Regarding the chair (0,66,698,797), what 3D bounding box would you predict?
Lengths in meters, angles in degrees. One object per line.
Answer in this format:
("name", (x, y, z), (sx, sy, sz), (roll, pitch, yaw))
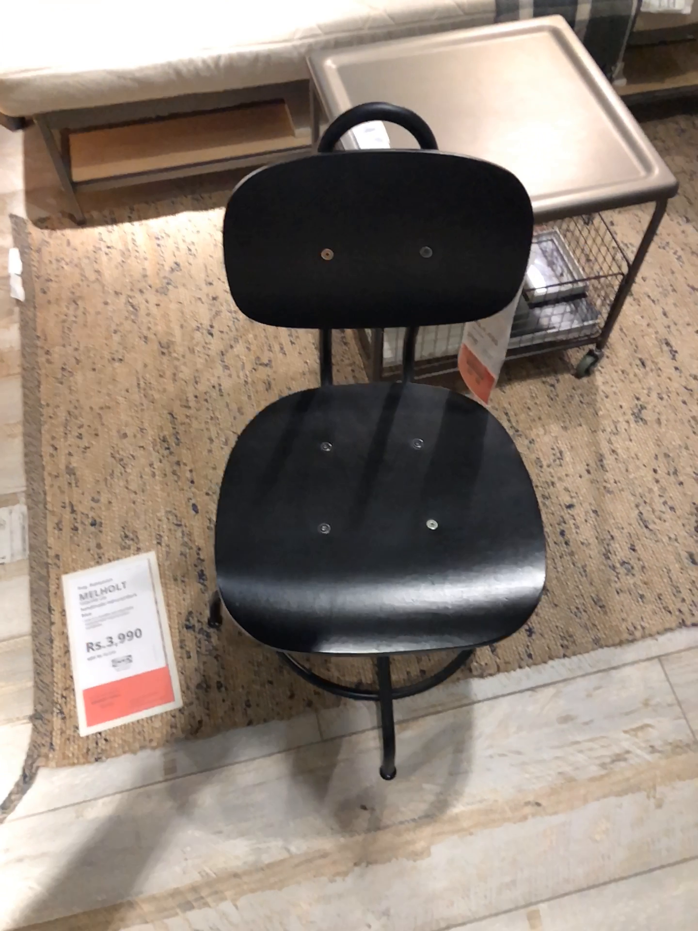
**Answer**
("chair", (0.027, 0.041, 0.980), (0.590, 0.767, 0.583), (-3, 60, -1))
